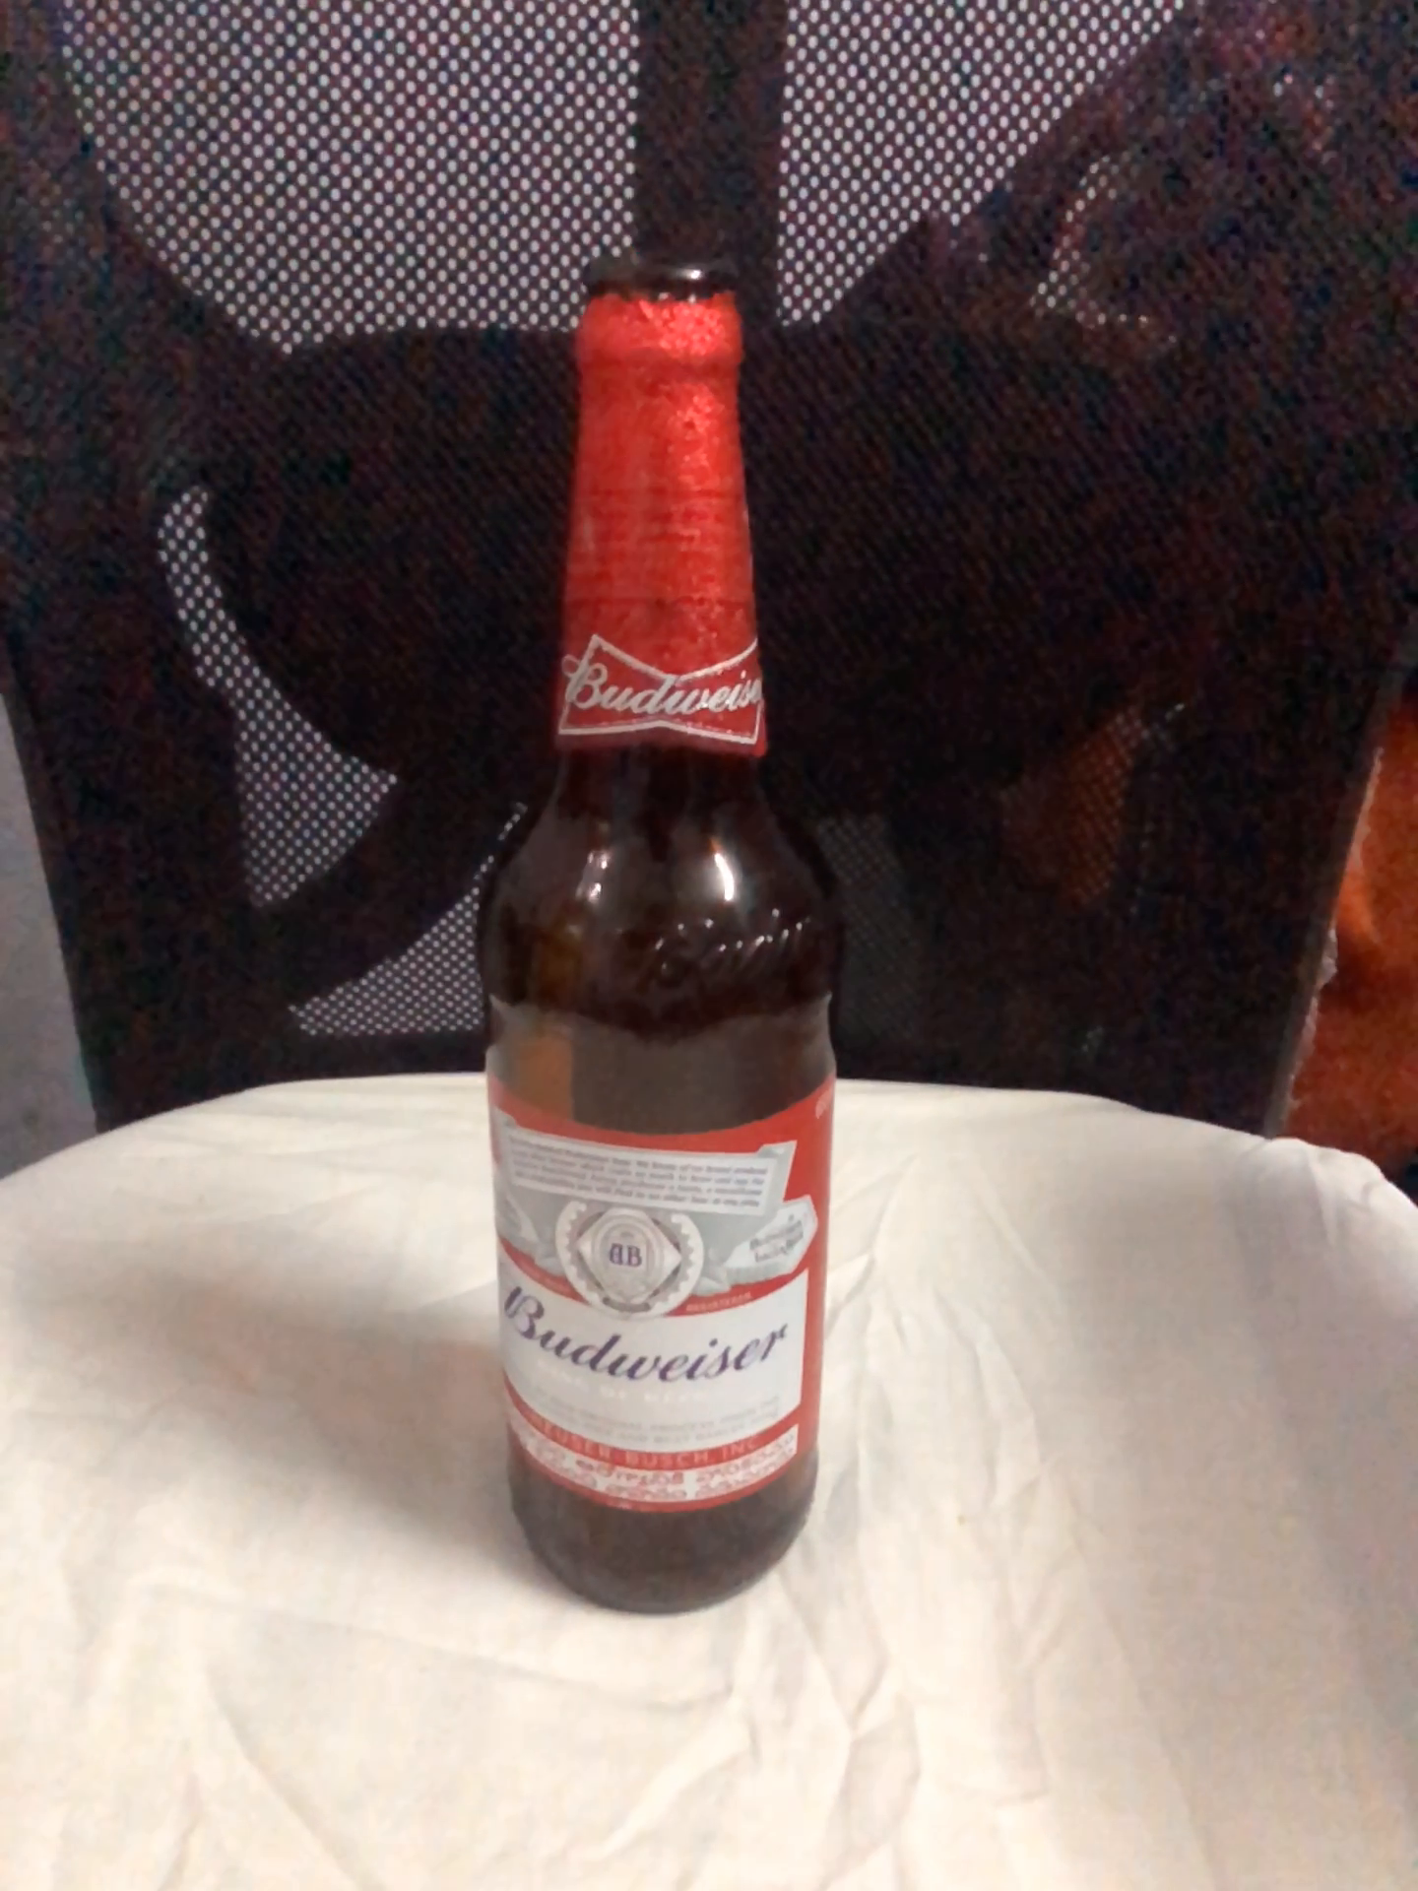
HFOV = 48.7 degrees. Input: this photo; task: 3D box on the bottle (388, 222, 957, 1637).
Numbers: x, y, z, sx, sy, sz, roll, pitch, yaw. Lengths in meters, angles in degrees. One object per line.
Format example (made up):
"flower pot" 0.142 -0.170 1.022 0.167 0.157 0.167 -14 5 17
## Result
"bottle" -0.010 0.012 0.316 0.080 0.279 0.070 4 28 2
